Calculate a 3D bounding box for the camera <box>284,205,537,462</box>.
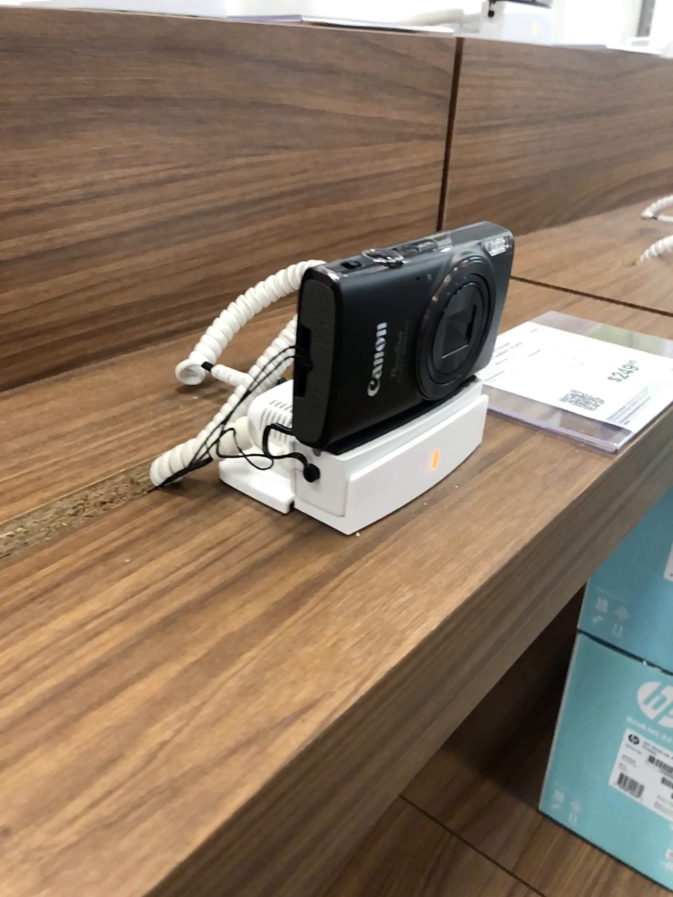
[{"bbox_3d":[0.028,-0.044,0.253,0.020,0.060,0.110,25,34,30],"label":"camera"}]
